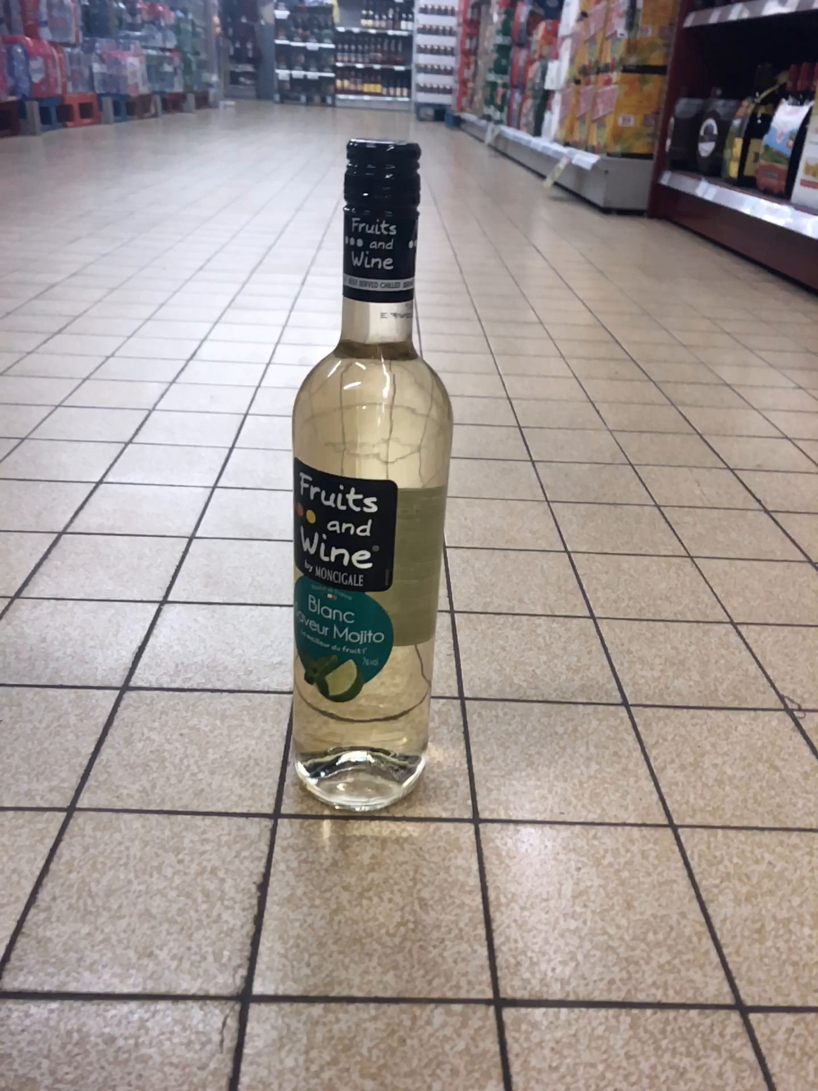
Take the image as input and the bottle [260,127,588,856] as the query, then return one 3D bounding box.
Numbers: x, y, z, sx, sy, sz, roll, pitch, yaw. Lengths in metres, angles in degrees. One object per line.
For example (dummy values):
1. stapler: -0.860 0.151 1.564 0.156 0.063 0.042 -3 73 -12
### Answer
1. bottle: 0.002 -0.019 0.401 0.100 0.298 0.091 11 27 16
